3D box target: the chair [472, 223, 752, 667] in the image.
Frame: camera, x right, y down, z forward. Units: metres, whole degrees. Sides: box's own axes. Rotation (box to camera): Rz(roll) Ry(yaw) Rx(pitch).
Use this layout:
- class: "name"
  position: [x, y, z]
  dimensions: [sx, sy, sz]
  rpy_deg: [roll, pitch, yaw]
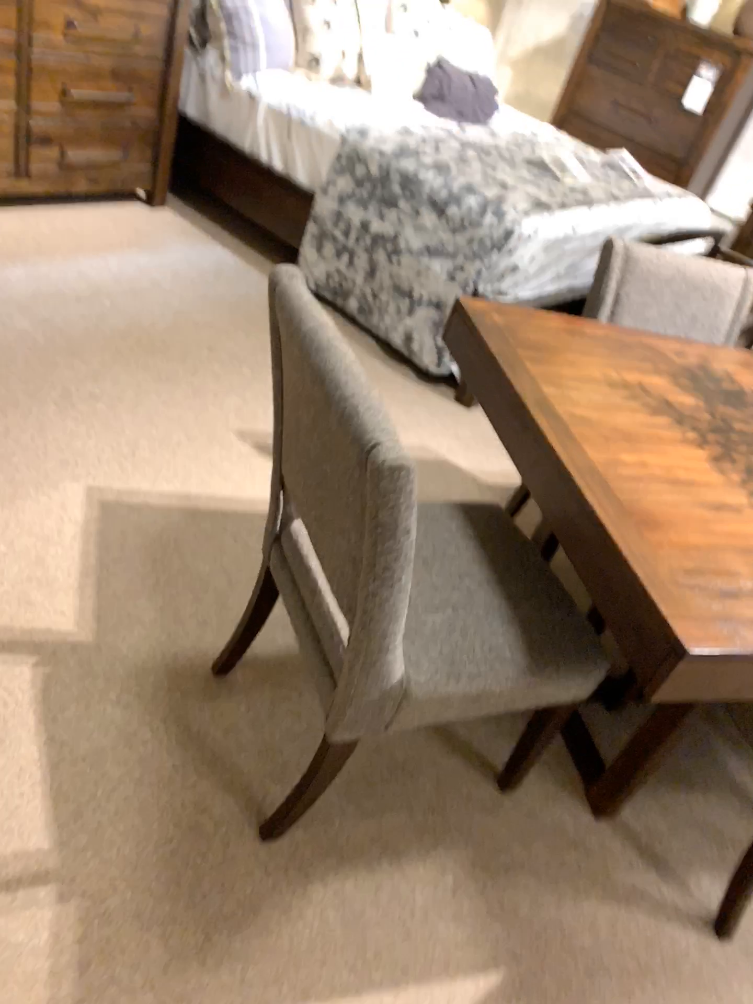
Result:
- class: "chair"
  position: [0.709, -0.117, 1.956]
  dimensions: [0.480, 0.862, 0.633]
  rpy_deg: [4, 39, -21]

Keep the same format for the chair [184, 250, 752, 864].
- class: "chair"
  position: [0.084, 0.117, 1.349]
  dimensions: [0.631, 0.862, 0.481]
  rpy_deg: [-1, 41, -26]
